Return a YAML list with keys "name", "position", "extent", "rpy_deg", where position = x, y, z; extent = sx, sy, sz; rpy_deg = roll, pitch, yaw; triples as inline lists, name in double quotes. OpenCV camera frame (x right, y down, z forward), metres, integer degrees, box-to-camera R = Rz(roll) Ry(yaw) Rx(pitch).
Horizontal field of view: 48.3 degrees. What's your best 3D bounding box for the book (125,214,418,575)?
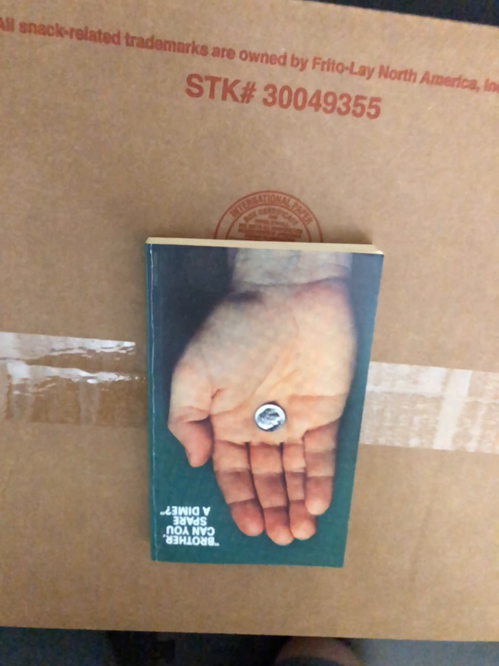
- name: "book"
  position: [0.005, 0.038, 0.268]
  extent: [0.120, 0.020, 0.180]
  rpy_deg: [2, 111, -3]
